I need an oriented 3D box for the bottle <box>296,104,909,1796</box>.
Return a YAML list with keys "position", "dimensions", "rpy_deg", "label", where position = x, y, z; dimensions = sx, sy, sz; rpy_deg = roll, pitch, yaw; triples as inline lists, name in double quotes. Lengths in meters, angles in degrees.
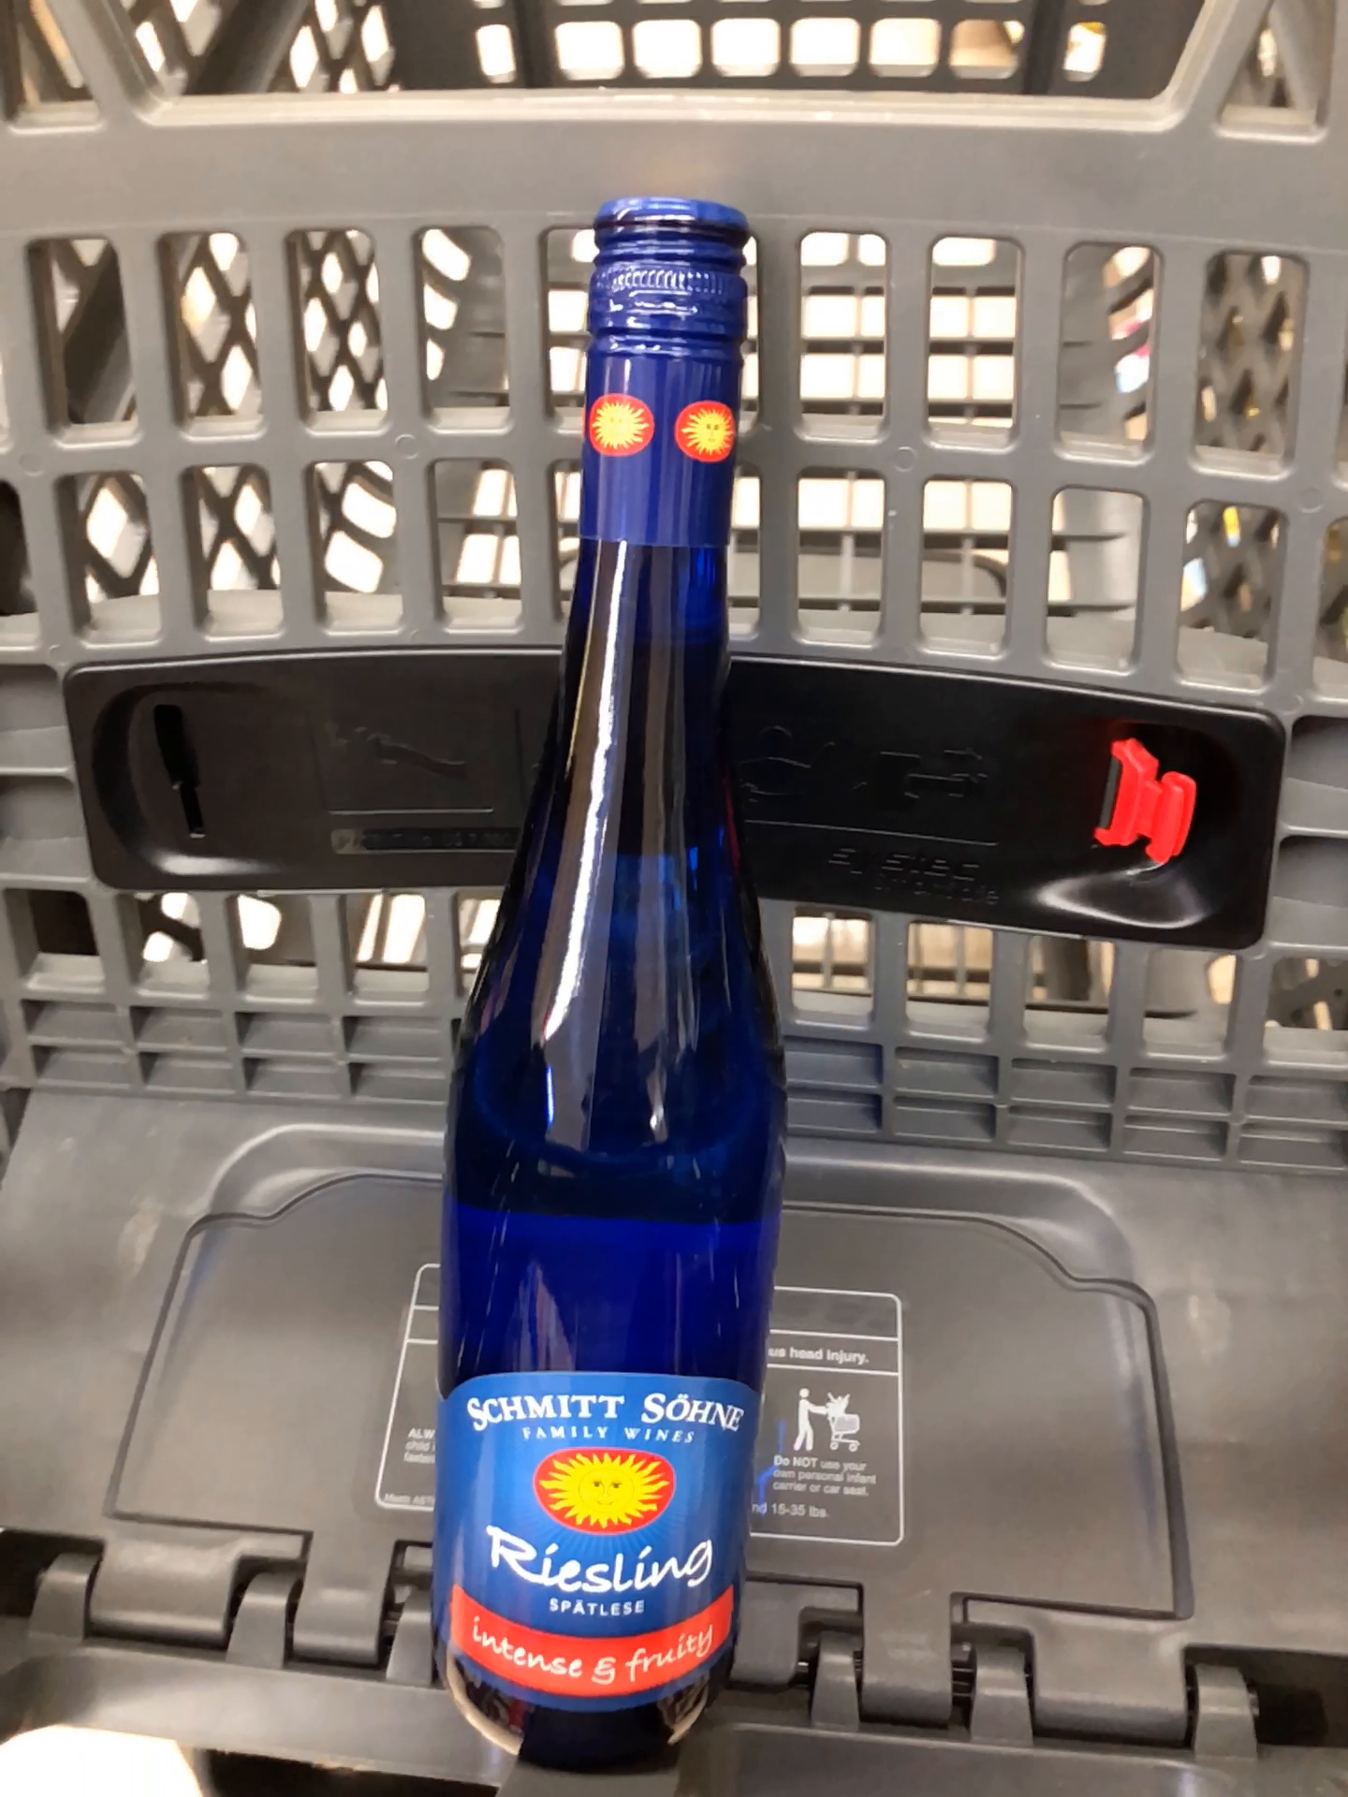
- position: [-0.018, 0.028, 0.337]
  dimensions: [0.100, 0.100, 0.350]
  rpy_deg: [3, 105, 1]
  label: "bottle"
